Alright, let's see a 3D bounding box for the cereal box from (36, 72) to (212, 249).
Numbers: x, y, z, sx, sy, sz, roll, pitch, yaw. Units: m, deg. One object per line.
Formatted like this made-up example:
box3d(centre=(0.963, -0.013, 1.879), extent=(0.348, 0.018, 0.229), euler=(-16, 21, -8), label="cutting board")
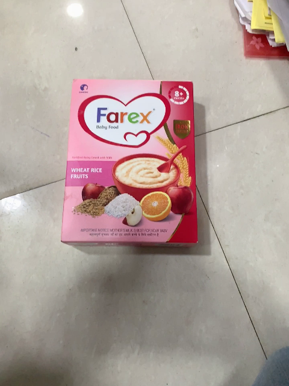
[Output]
box3d(centre=(-0.020, -0.035, 0.334), extent=(0.170, 0.050, 0.190), euler=(1, 76, -1), label="cereal box")
